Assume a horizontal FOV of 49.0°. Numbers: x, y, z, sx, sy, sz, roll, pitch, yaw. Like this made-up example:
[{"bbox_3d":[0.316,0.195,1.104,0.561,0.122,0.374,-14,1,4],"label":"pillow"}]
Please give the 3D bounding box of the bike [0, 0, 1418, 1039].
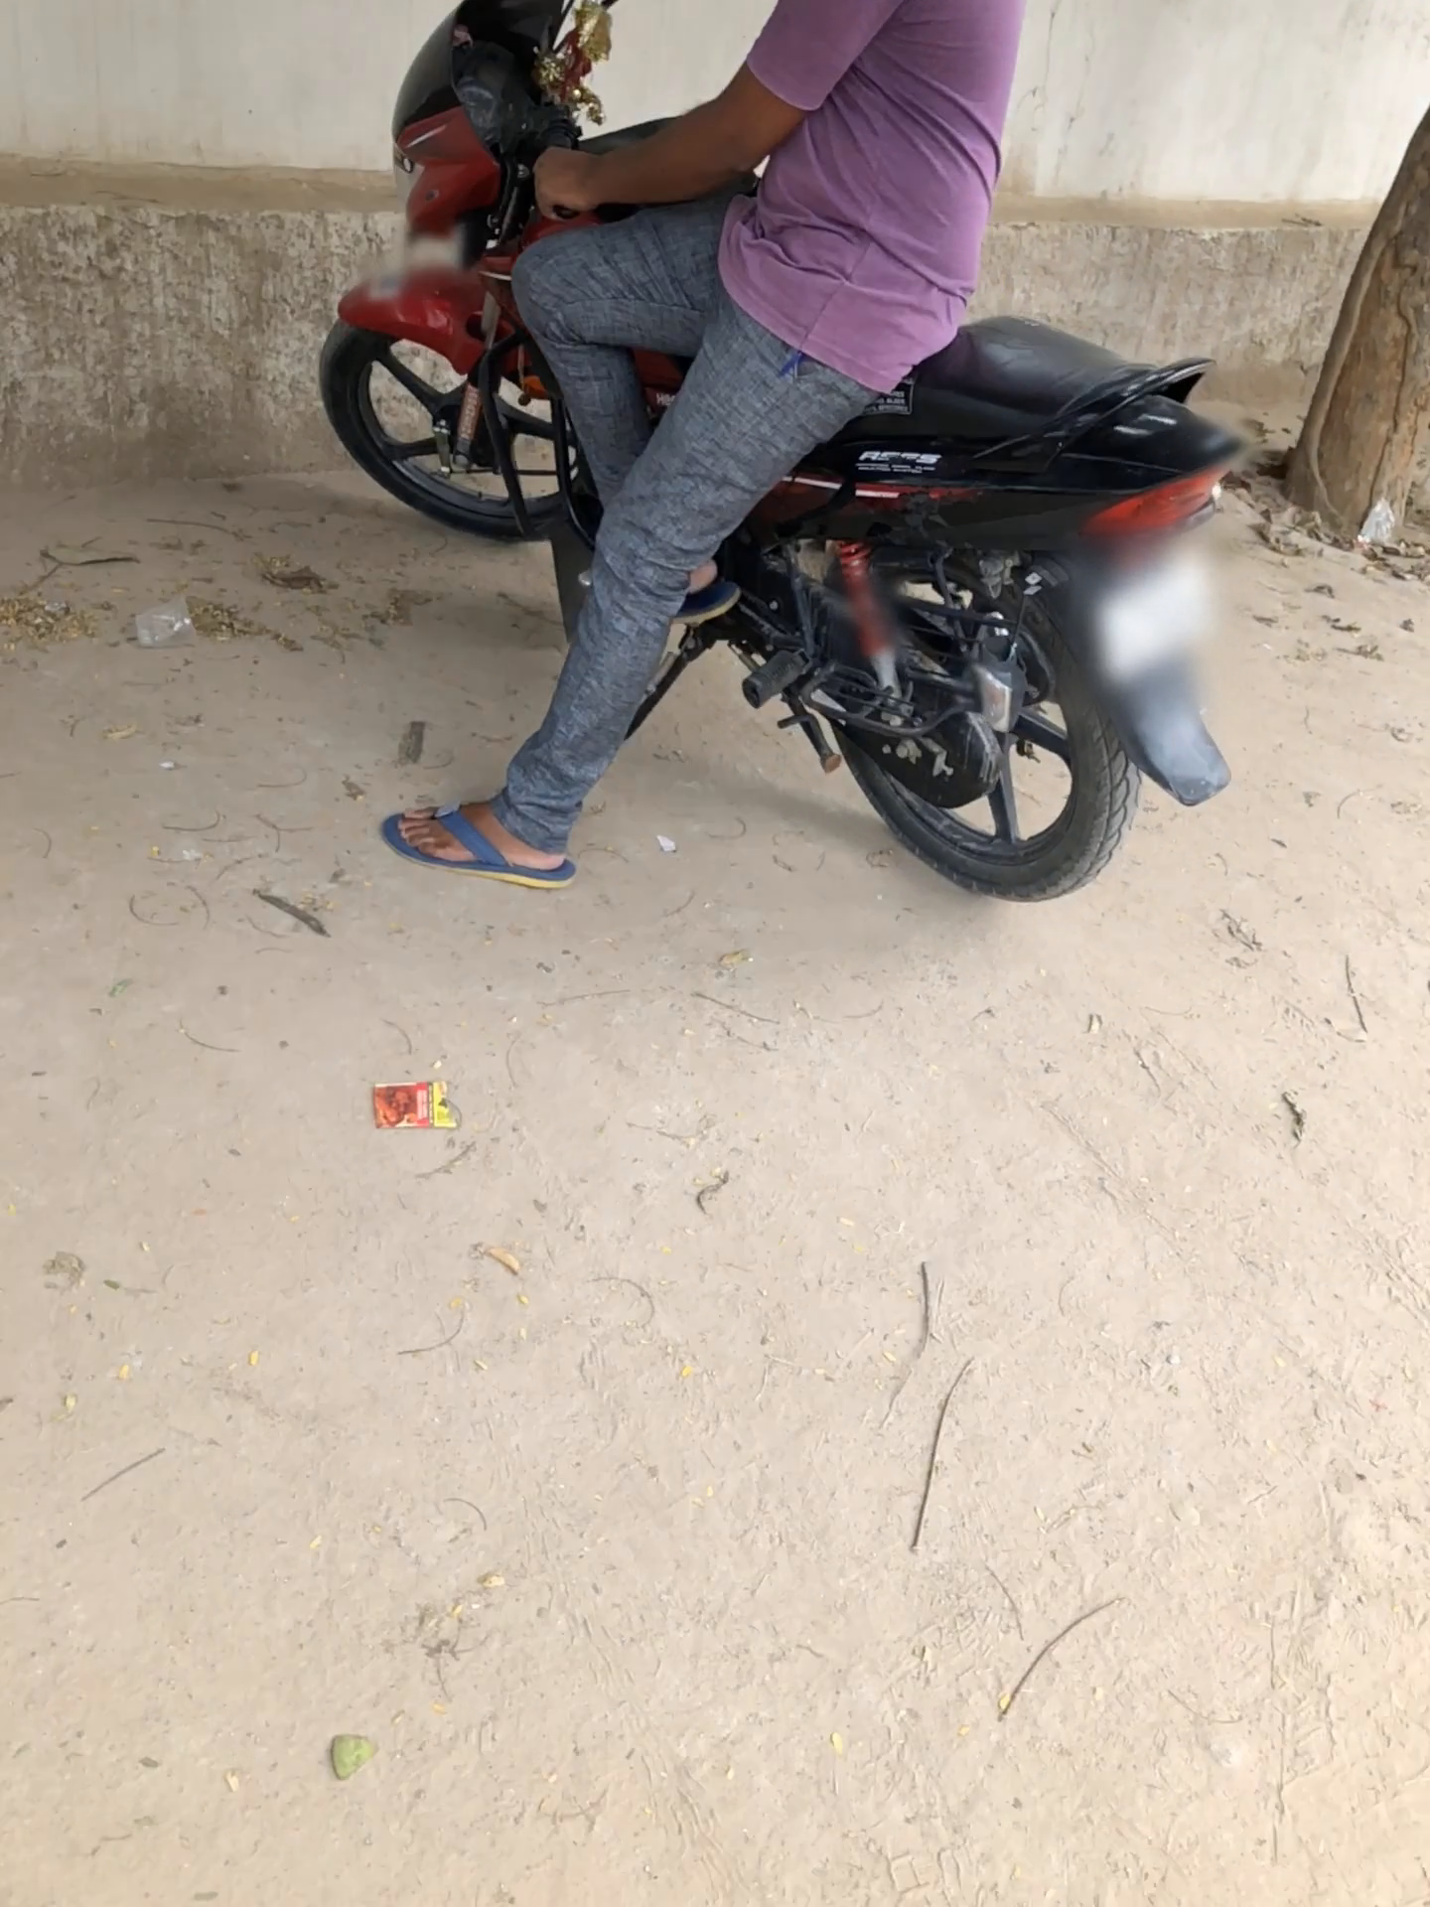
[{"bbox_3d":[-0.158,-0.925,2.159,1.699,1.086,0.745,33,40,25],"label":"bike"}]
